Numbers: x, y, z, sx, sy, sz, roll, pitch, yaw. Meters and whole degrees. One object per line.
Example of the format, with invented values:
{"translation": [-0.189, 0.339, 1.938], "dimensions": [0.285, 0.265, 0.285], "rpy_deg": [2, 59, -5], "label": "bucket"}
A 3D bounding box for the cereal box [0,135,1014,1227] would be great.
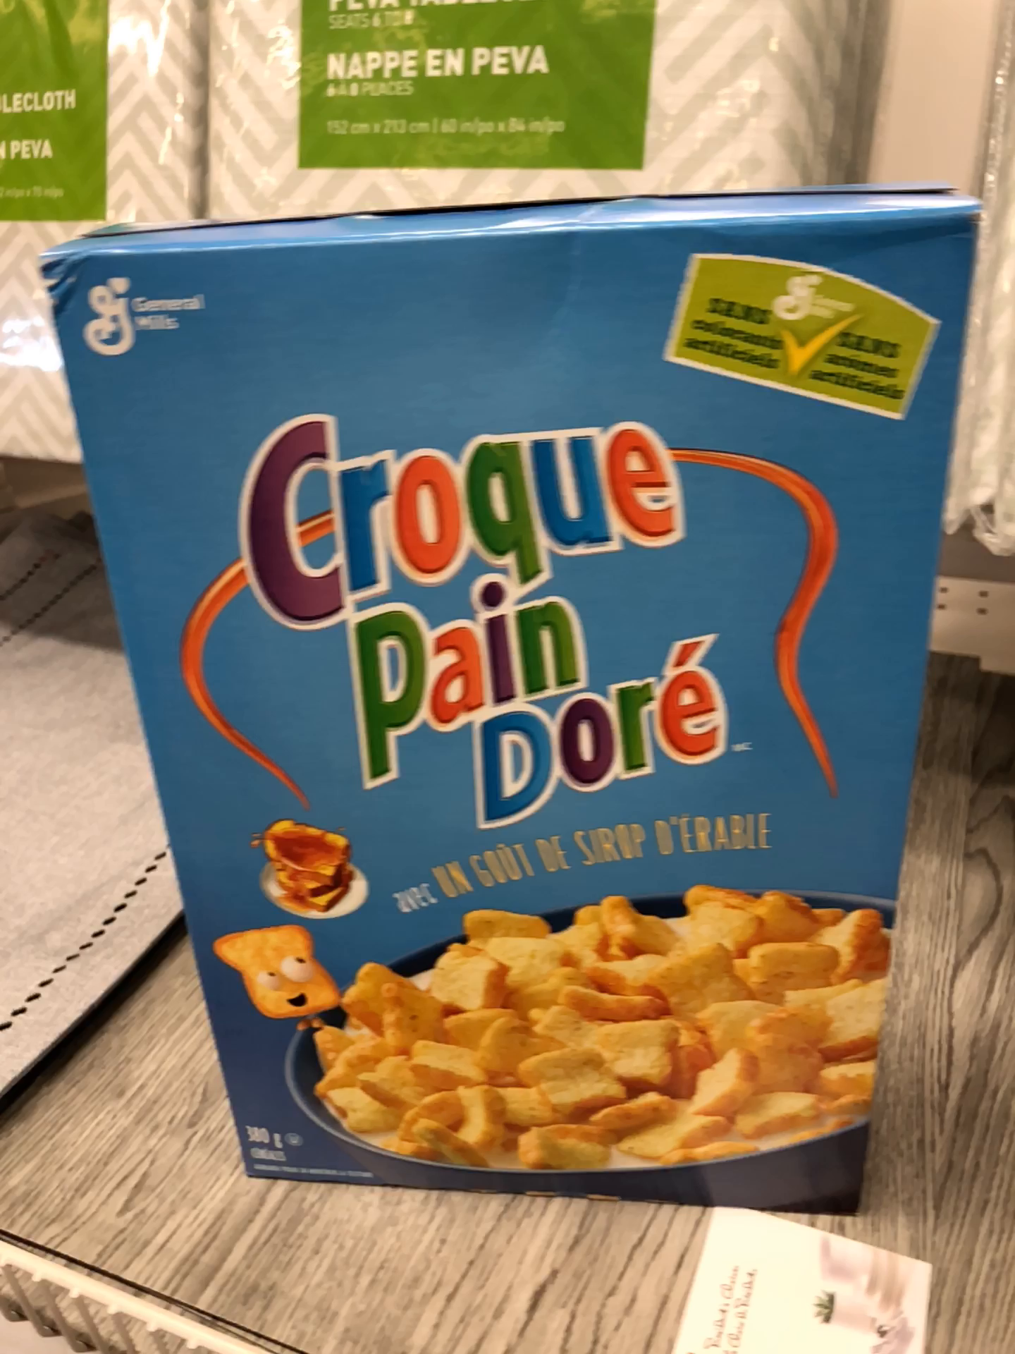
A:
{"translation": [0.010, 0.019, 0.298], "dimensions": [0.210, 0.279, 0.050], "rpy_deg": [0, 26, 8], "label": "cereal box"}
